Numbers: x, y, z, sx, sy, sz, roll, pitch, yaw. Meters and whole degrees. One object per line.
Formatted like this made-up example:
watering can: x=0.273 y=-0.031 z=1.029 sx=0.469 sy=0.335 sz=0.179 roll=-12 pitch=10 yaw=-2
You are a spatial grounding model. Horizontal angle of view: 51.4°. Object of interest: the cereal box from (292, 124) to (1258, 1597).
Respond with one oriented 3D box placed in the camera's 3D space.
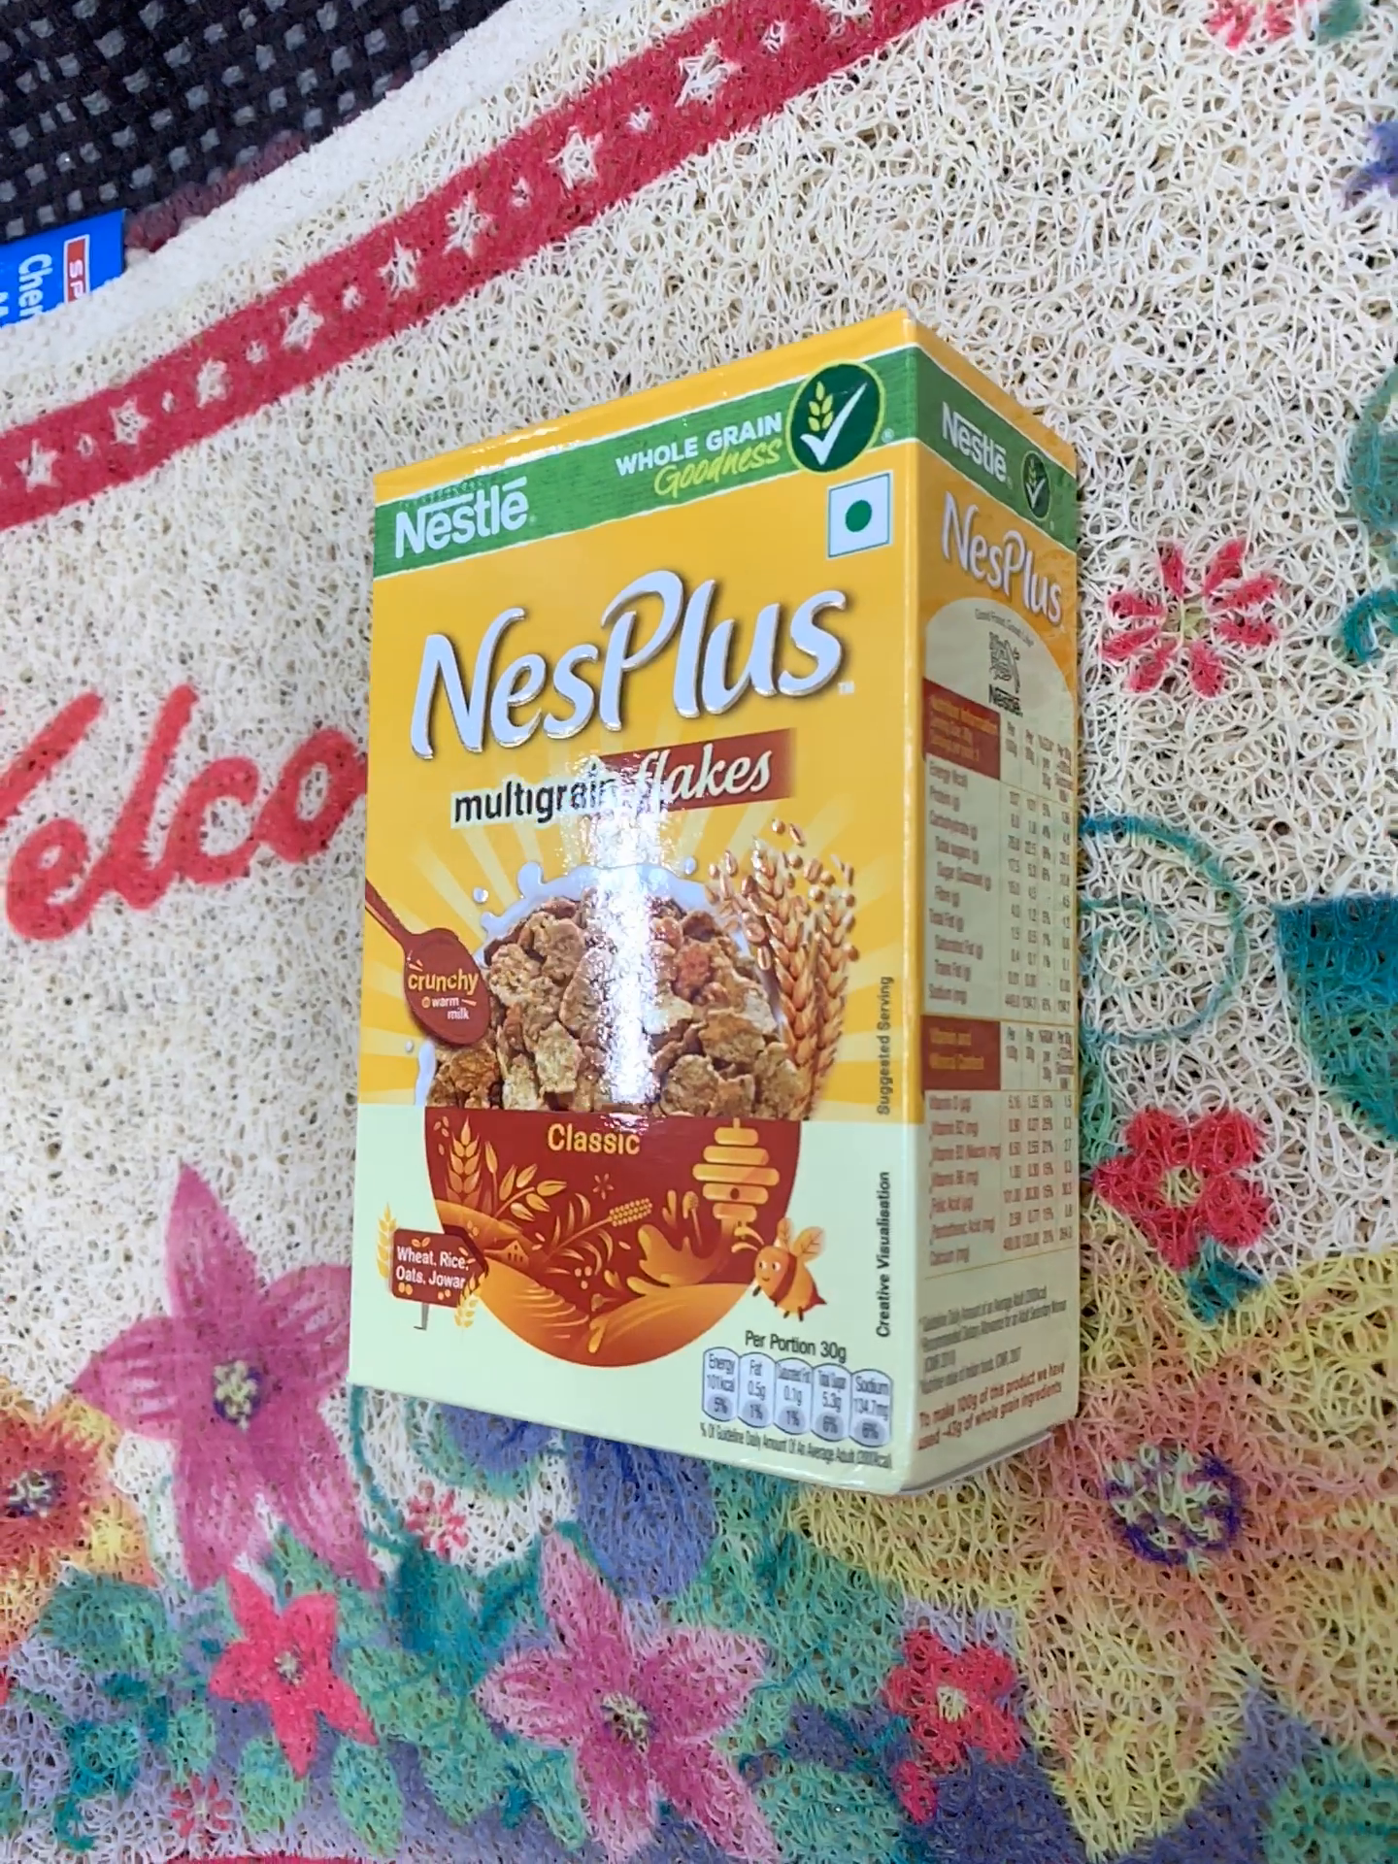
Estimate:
cereal box: x=0.005 y=-0.007 z=0.202 sx=0.130 sy=0.040 sz=0.150 roll=-2 pitch=83 yaw=38
